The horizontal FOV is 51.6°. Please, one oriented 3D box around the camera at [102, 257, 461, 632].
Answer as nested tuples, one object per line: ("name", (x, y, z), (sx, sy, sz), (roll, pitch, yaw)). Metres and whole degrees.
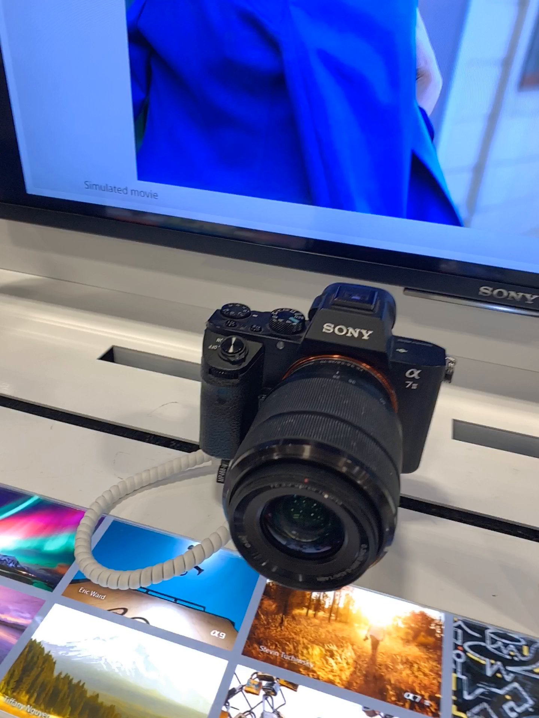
("camera", (0.019, 0.024, 0.276), (0.128, 0.084, 0.151), (10, 32, 13))
